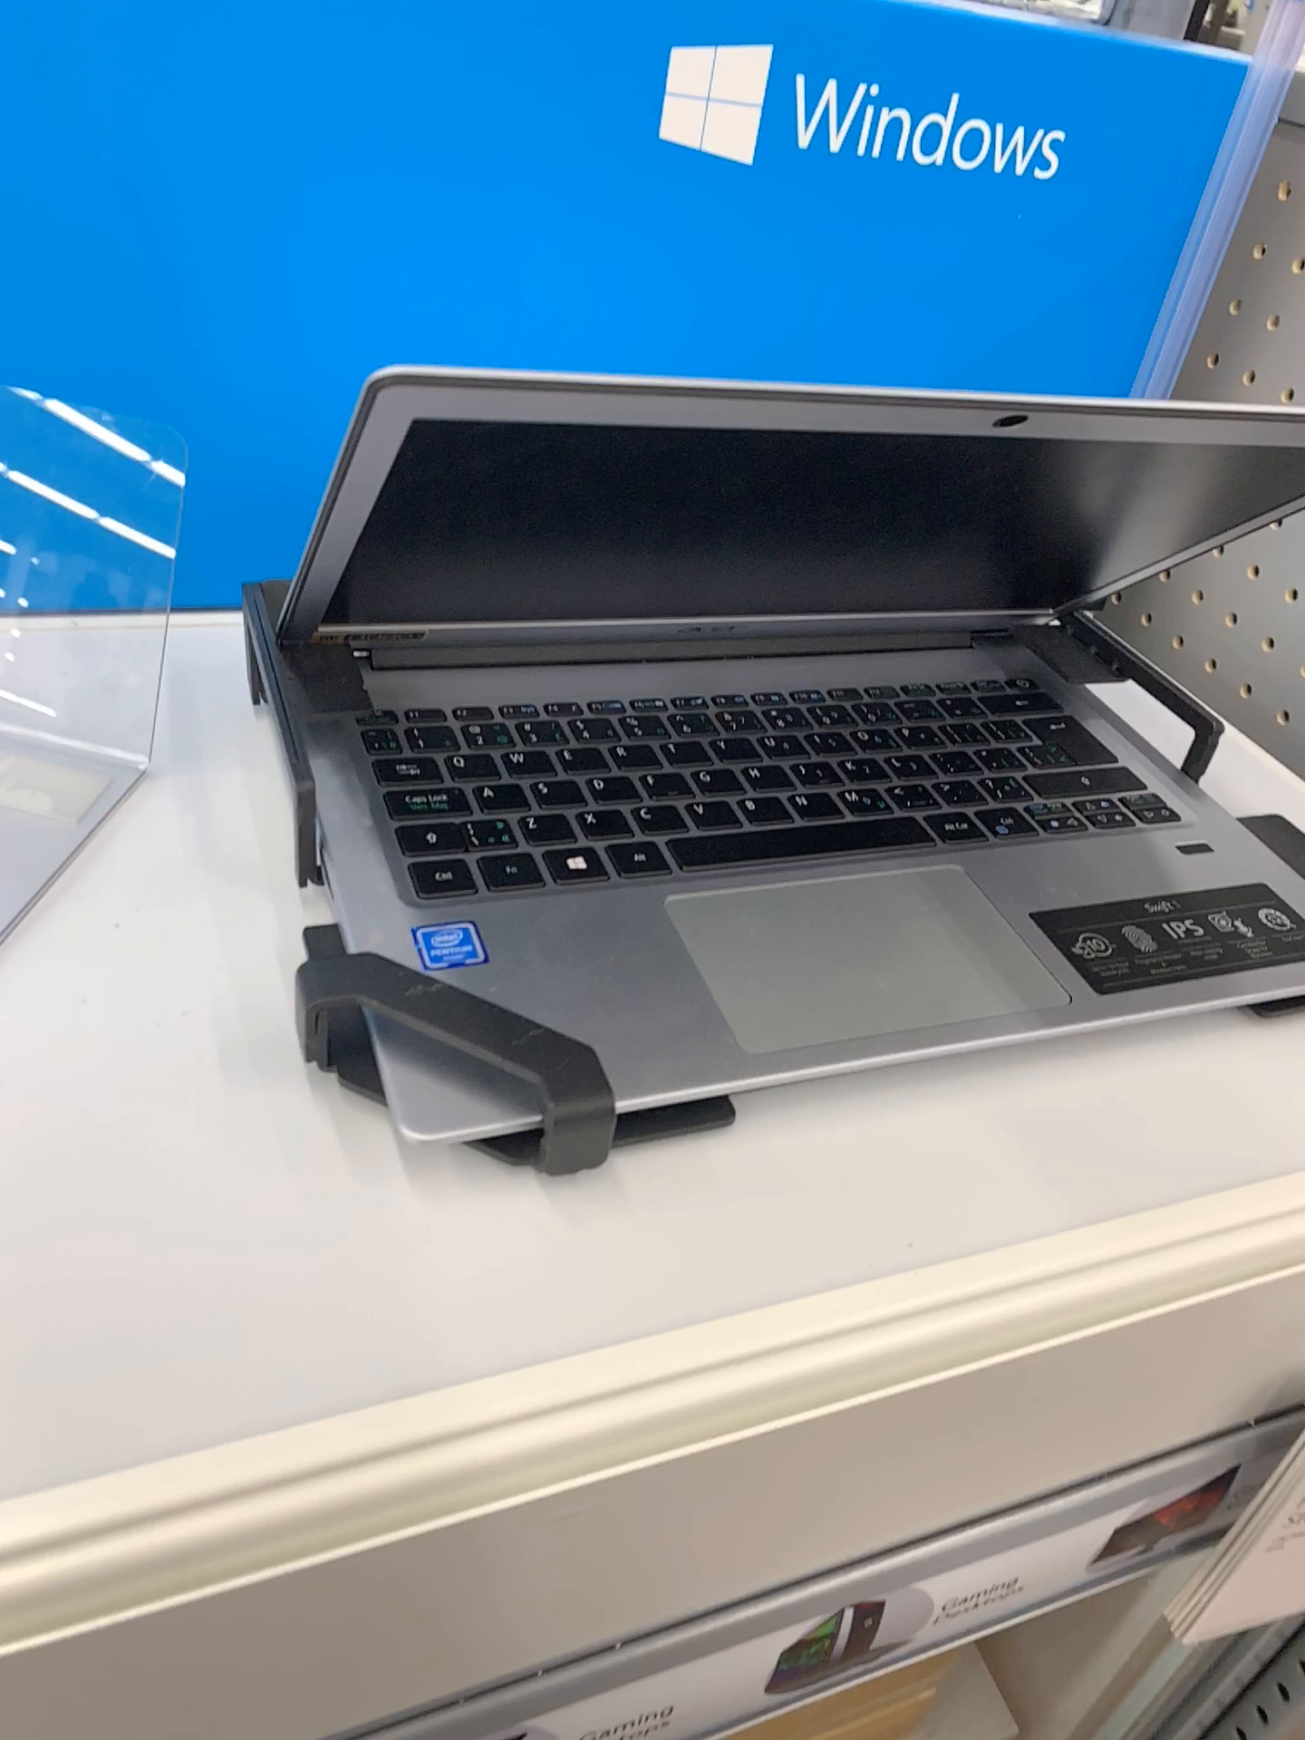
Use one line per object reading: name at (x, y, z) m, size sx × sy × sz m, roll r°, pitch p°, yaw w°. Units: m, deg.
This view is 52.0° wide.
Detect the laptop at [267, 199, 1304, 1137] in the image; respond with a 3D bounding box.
laptop at (0.063, -0.076, 0.385) m, size 0.306 × 0.141 × 0.213 m, roll -6°, pitch 39°, yaw -22°
